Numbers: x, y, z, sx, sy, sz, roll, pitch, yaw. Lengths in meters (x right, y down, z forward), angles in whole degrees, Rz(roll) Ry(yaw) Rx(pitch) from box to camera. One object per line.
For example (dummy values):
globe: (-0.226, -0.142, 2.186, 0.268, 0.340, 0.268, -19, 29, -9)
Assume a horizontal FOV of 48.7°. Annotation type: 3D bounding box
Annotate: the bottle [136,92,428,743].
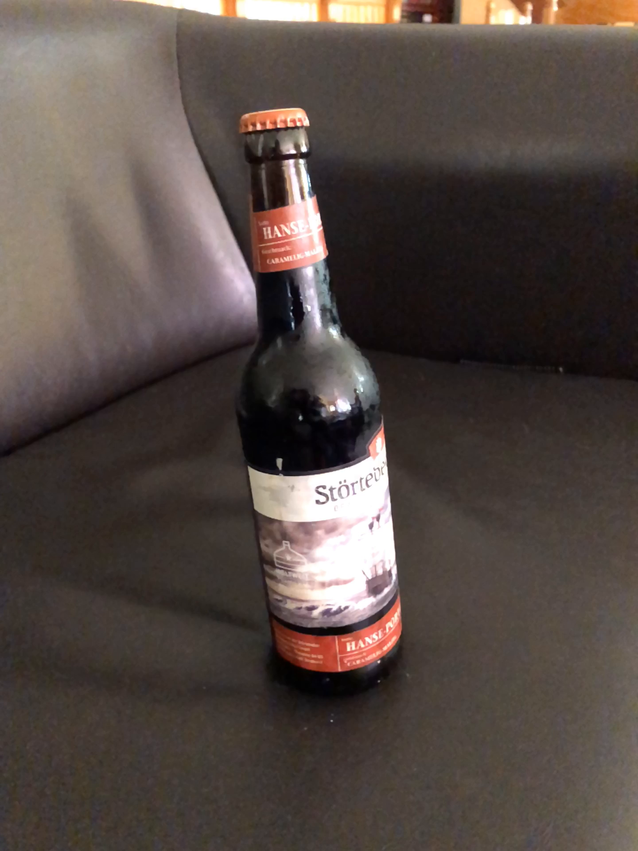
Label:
bottle: (-0.007, 0.000, 0.334, 0.080, 0.279, 0.080, -4, 23, 2)
